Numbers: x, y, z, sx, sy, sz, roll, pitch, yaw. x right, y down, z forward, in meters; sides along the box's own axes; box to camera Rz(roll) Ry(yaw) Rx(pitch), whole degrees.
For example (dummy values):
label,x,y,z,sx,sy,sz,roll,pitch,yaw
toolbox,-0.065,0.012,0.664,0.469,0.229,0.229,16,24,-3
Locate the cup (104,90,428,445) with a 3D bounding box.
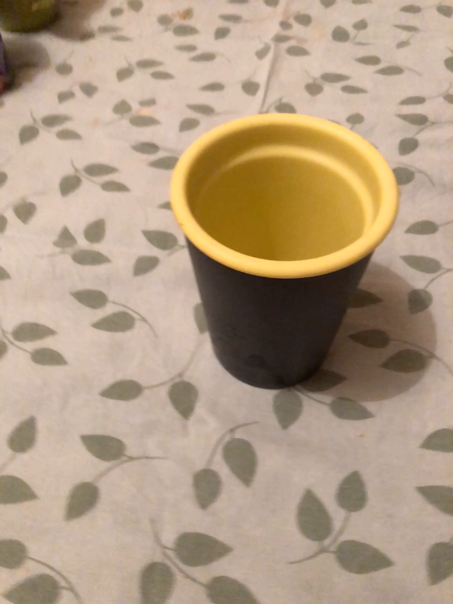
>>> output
label,x,y,z,sx,sy,sz,roll,pitch,yaw
cup,0.019,-0.012,0.230,0.090,0.109,0.090,-1,57,1
